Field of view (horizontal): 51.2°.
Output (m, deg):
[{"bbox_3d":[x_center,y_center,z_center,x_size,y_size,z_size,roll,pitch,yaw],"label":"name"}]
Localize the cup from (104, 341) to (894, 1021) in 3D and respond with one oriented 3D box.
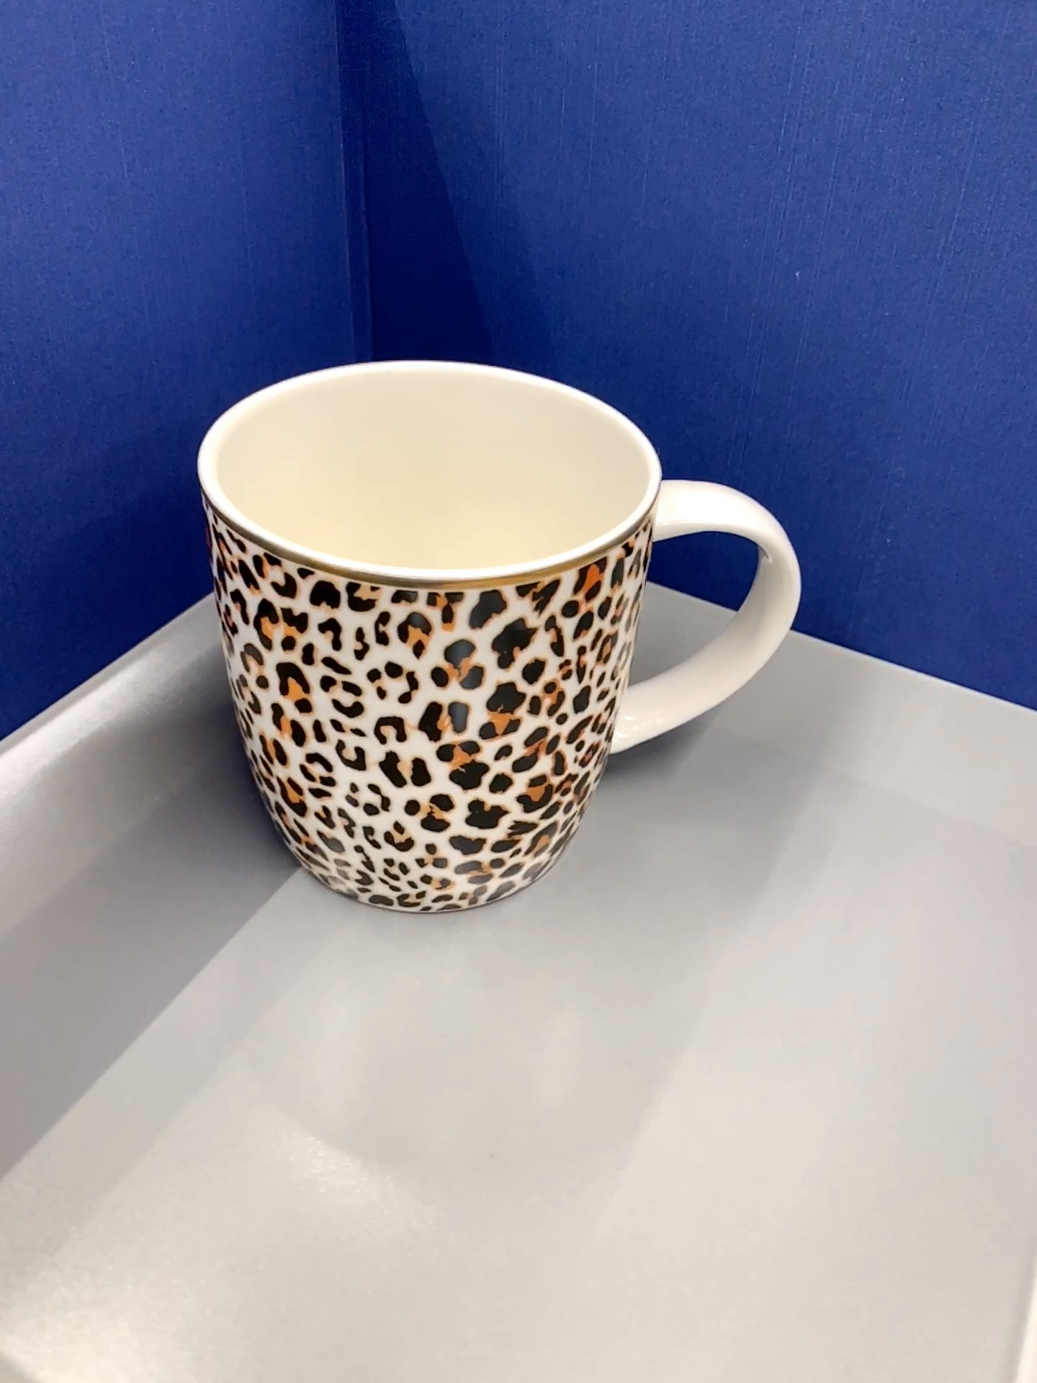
[{"bbox_3d":[-0.011,-0.009,0.235,0.126,0.095,0.099,-6,38,-12],"label":"cup"}]
